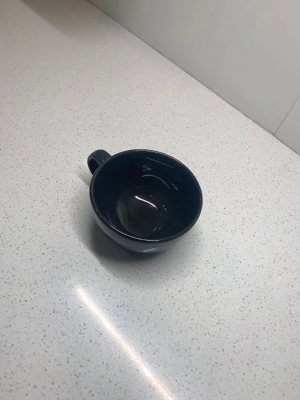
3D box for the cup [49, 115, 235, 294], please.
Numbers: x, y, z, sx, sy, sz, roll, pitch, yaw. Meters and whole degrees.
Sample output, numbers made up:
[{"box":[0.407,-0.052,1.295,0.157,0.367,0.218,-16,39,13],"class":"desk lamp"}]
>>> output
[{"box":[-0.010,-0.002,0.302,0.110,0.060,0.130,-35,68,-29],"class":"cup"}]
